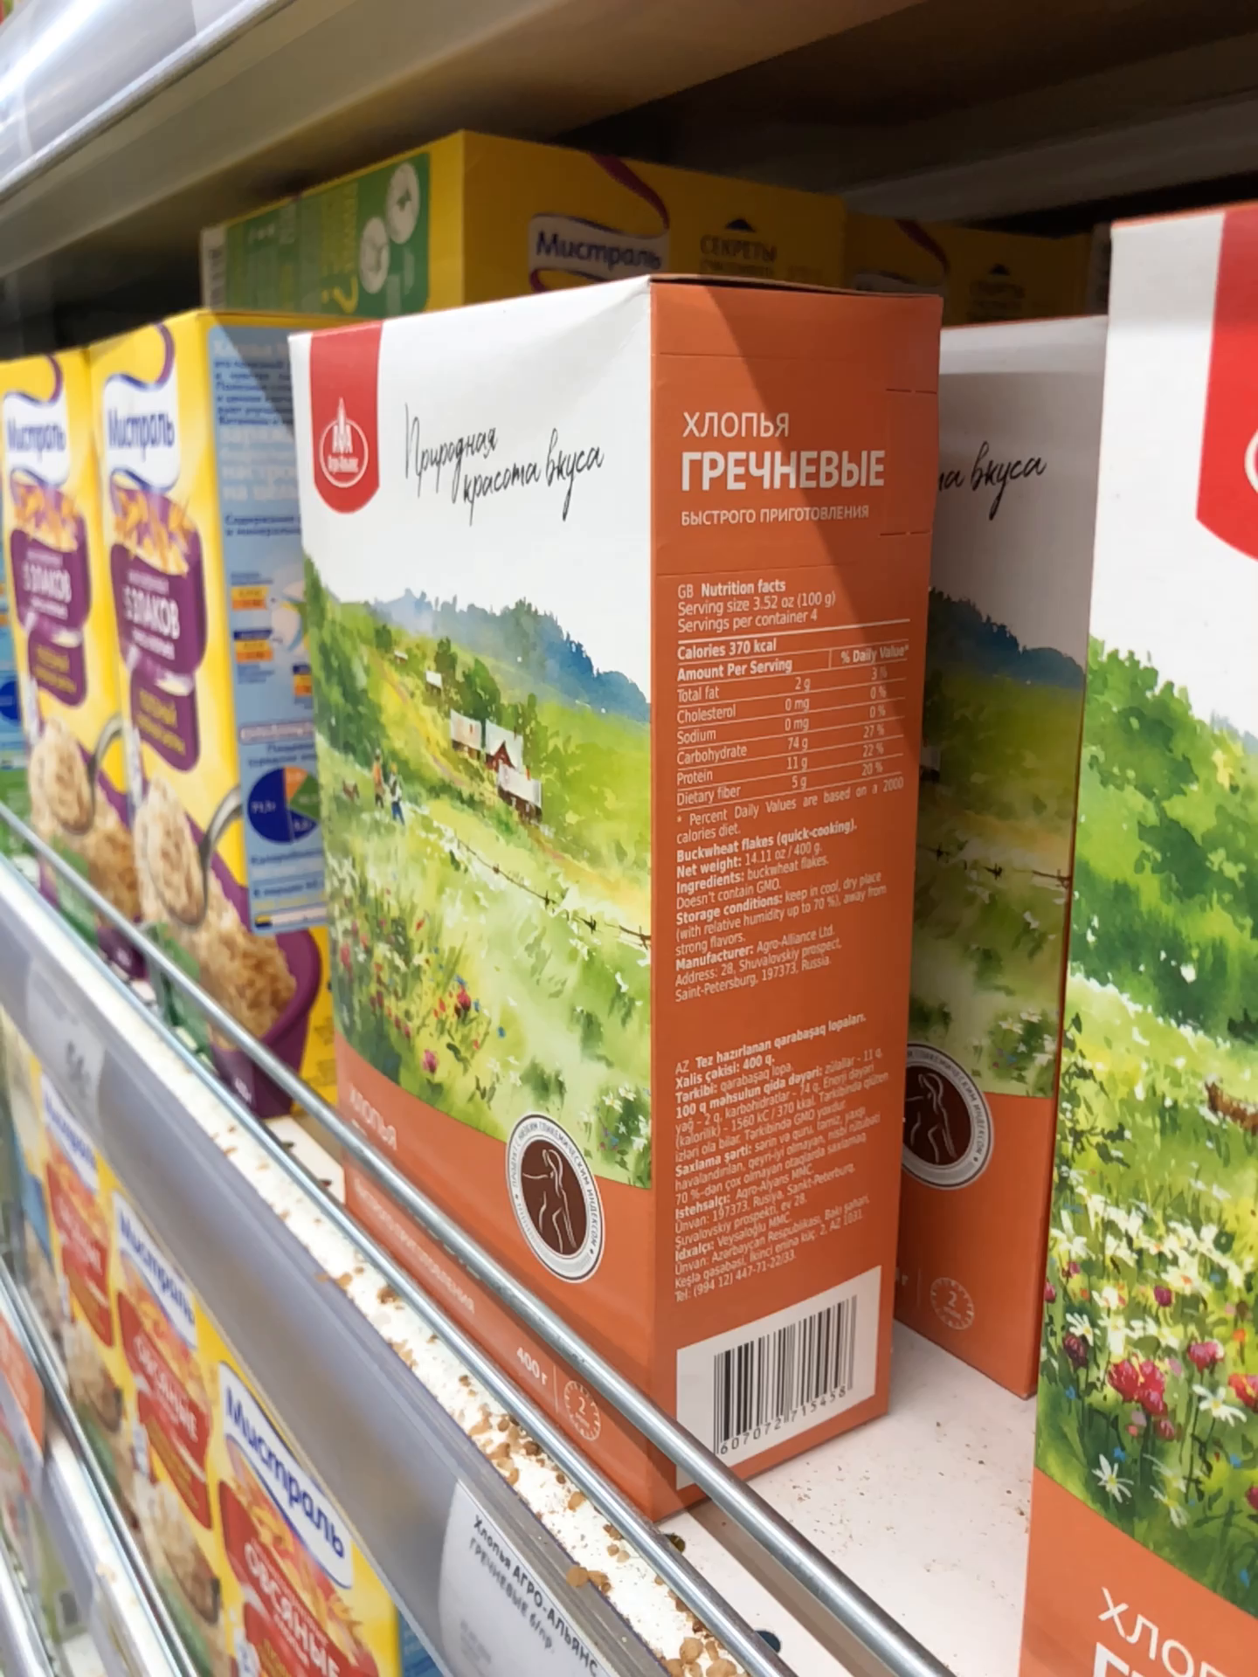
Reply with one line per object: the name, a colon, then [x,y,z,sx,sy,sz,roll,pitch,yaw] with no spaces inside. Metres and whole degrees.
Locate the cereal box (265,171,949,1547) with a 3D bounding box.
cereal box: [-0.014,-0.004,0.267,0.050,0.199,0.140,-10,17,-33]
